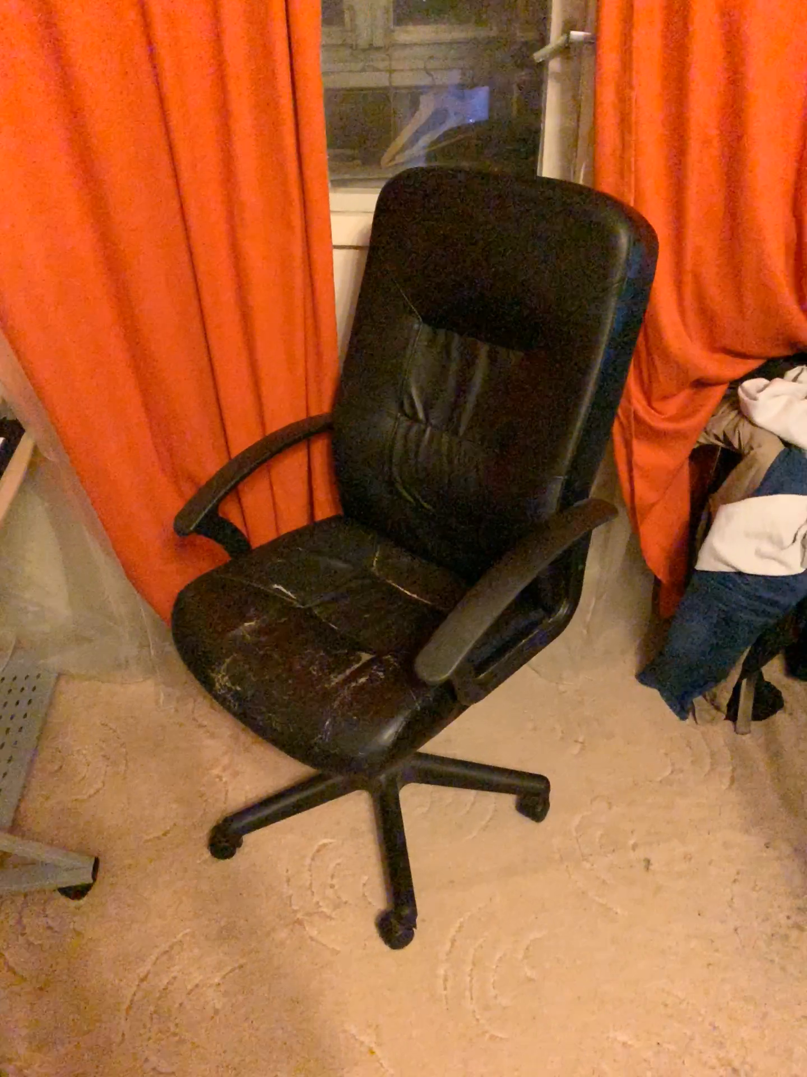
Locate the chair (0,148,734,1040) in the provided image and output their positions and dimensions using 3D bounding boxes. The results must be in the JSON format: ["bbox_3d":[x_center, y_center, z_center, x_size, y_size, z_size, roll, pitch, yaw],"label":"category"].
[{"bbox_3d":[-0.046,0.029,1.408,0.712,1.124,0.743,26,42,35],"label":"chair"}]
